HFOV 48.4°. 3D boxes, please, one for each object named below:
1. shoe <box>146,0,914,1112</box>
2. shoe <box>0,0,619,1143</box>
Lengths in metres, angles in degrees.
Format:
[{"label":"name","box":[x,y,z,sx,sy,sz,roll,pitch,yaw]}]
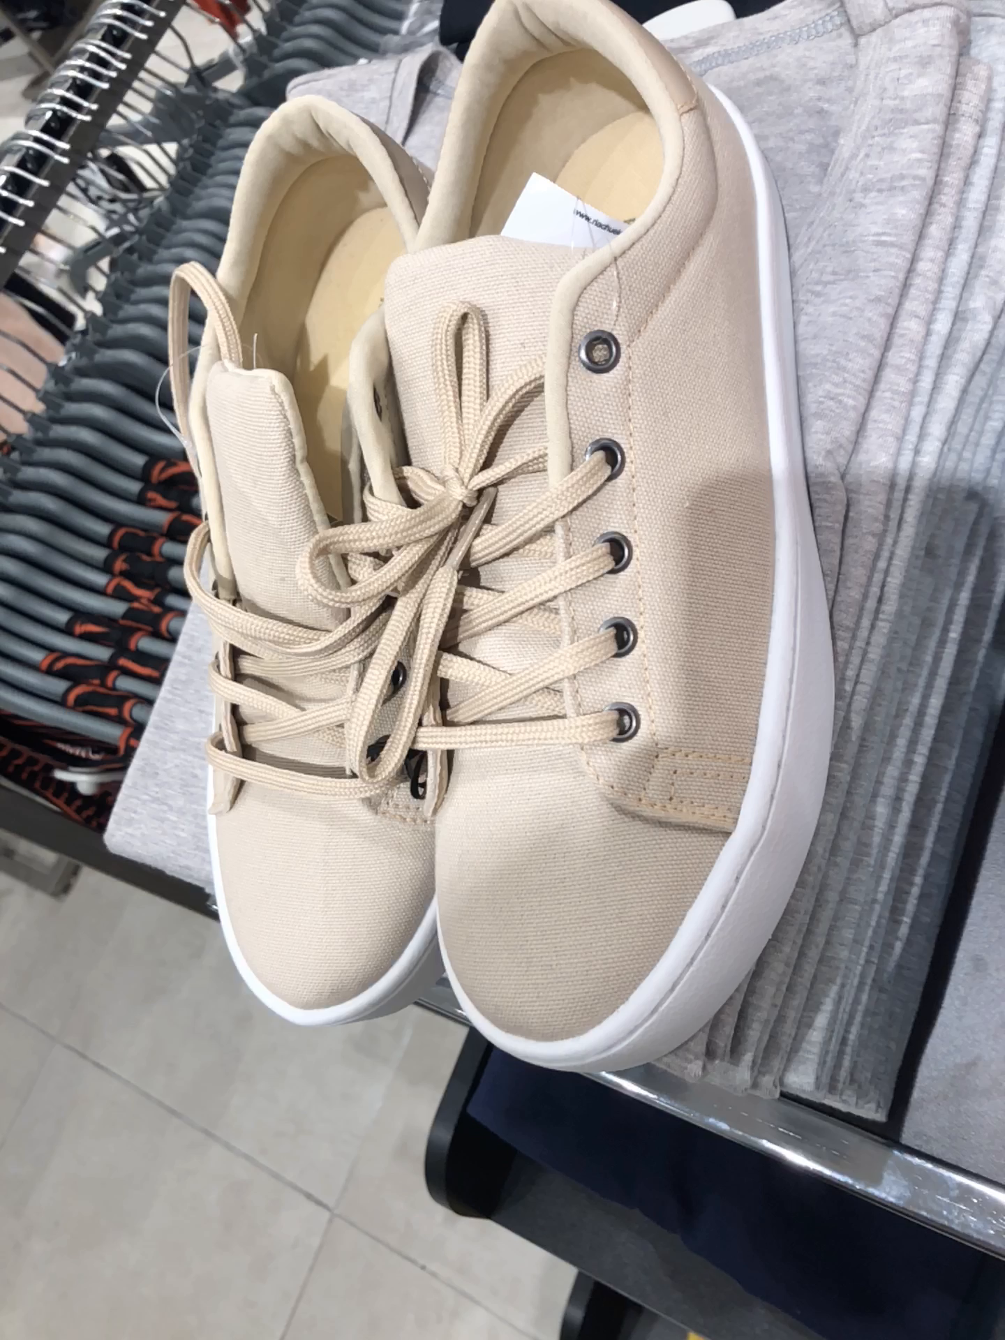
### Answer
[{"label":"shoe","box":[0.029,-0.055,0.285,0.110,0.109,0.291,-1,67,30]},{"label":"shoe","box":[-0.045,-0.038,0.310,0.100,0.110,0.280,4,81,21]}]
